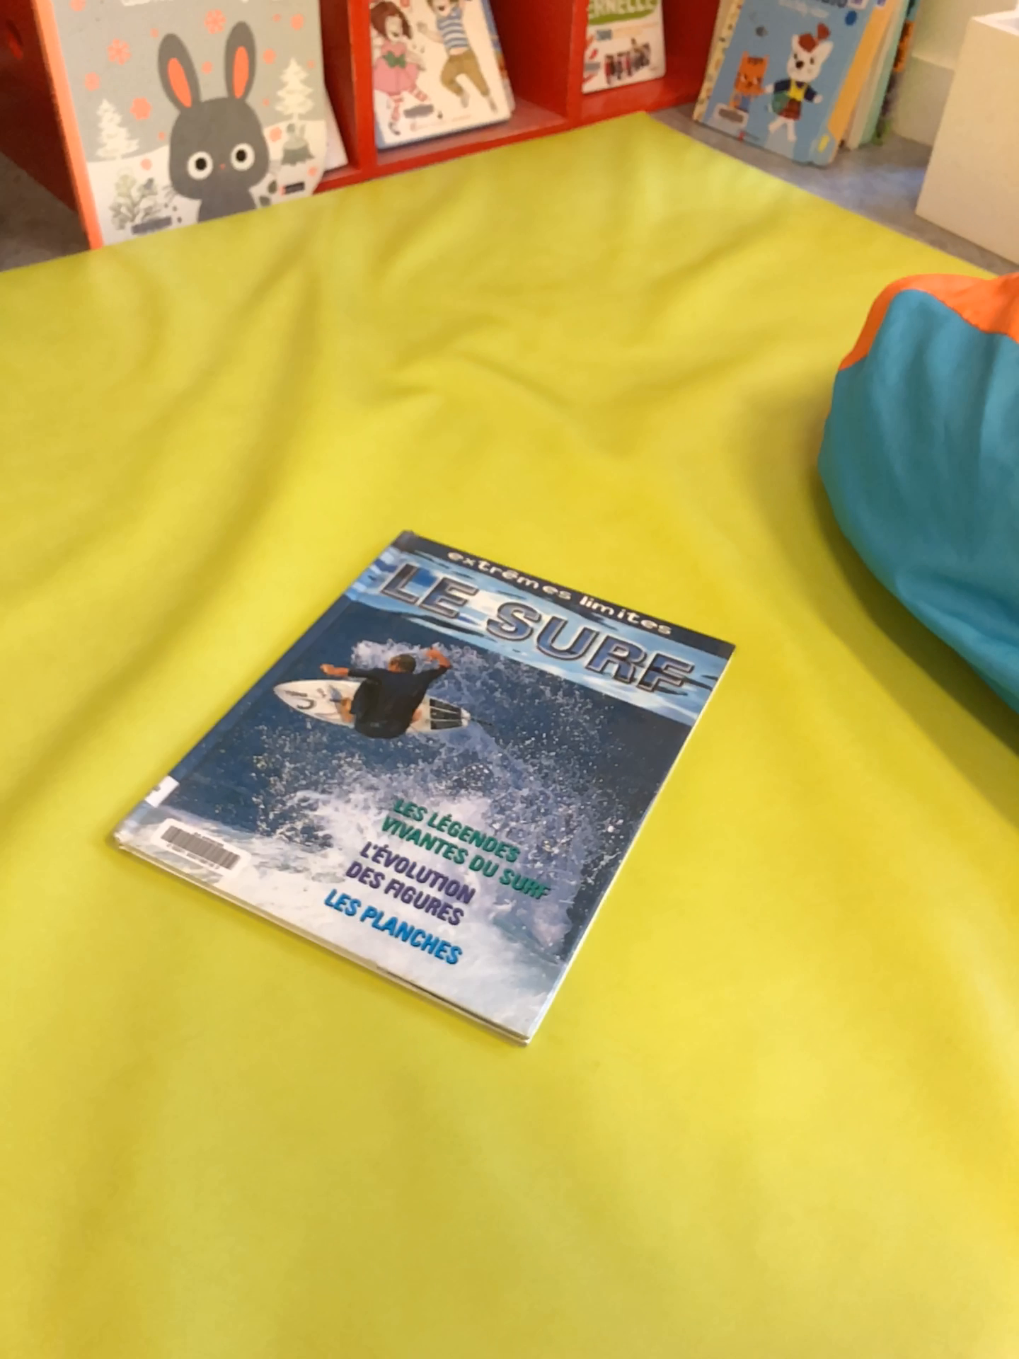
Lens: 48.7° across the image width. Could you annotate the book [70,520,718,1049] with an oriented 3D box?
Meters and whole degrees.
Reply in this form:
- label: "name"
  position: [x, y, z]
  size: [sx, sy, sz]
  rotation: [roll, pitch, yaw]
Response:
- label: "book"
  position: [-0.044, 0.027, 0.587]
  size: [0.226, 0.016, 0.274]
  rotation: [21, 46, 17]
